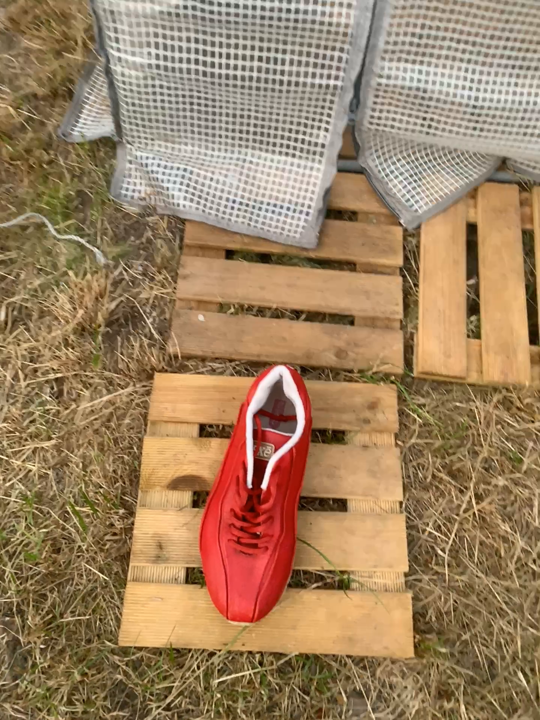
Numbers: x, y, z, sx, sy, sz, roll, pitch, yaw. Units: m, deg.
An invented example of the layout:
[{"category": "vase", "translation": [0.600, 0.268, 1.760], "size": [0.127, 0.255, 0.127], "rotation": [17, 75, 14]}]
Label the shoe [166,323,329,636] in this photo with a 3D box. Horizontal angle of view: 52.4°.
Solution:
[{"category": "shoe", "translation": [-0.014, 0.121, 0.572], "size": [0.100, 0.129, 0.282], "rotation": [10, 61, 3]}]
